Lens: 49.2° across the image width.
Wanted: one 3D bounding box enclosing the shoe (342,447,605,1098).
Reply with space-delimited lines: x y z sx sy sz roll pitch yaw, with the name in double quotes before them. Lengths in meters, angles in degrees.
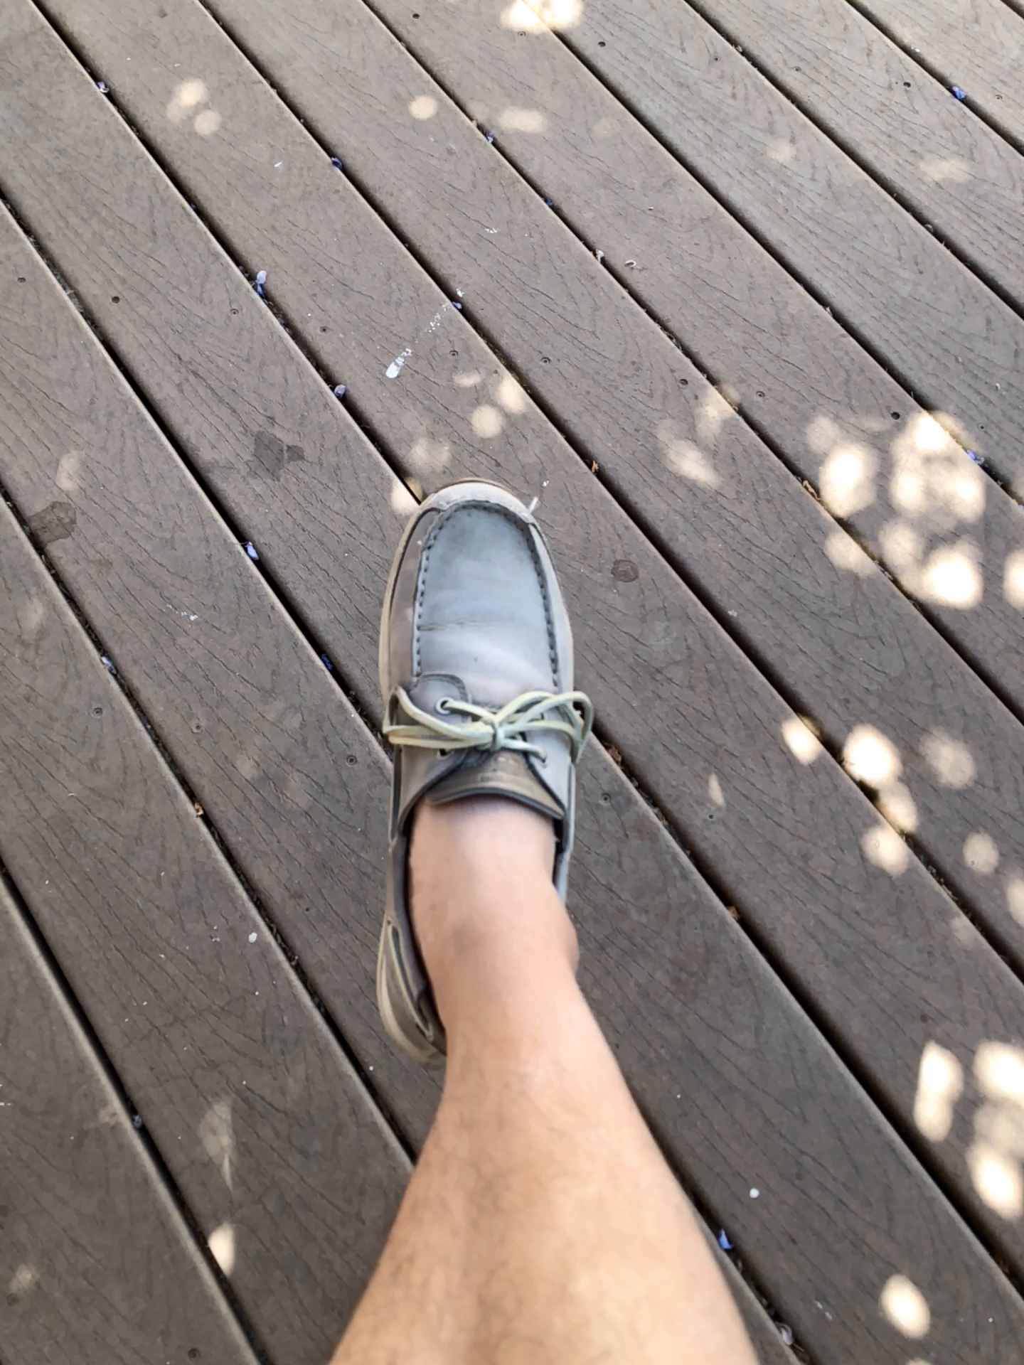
"shoe" -0.015 0.042 0.573 0.115 0.085 0.306 2 80 0
